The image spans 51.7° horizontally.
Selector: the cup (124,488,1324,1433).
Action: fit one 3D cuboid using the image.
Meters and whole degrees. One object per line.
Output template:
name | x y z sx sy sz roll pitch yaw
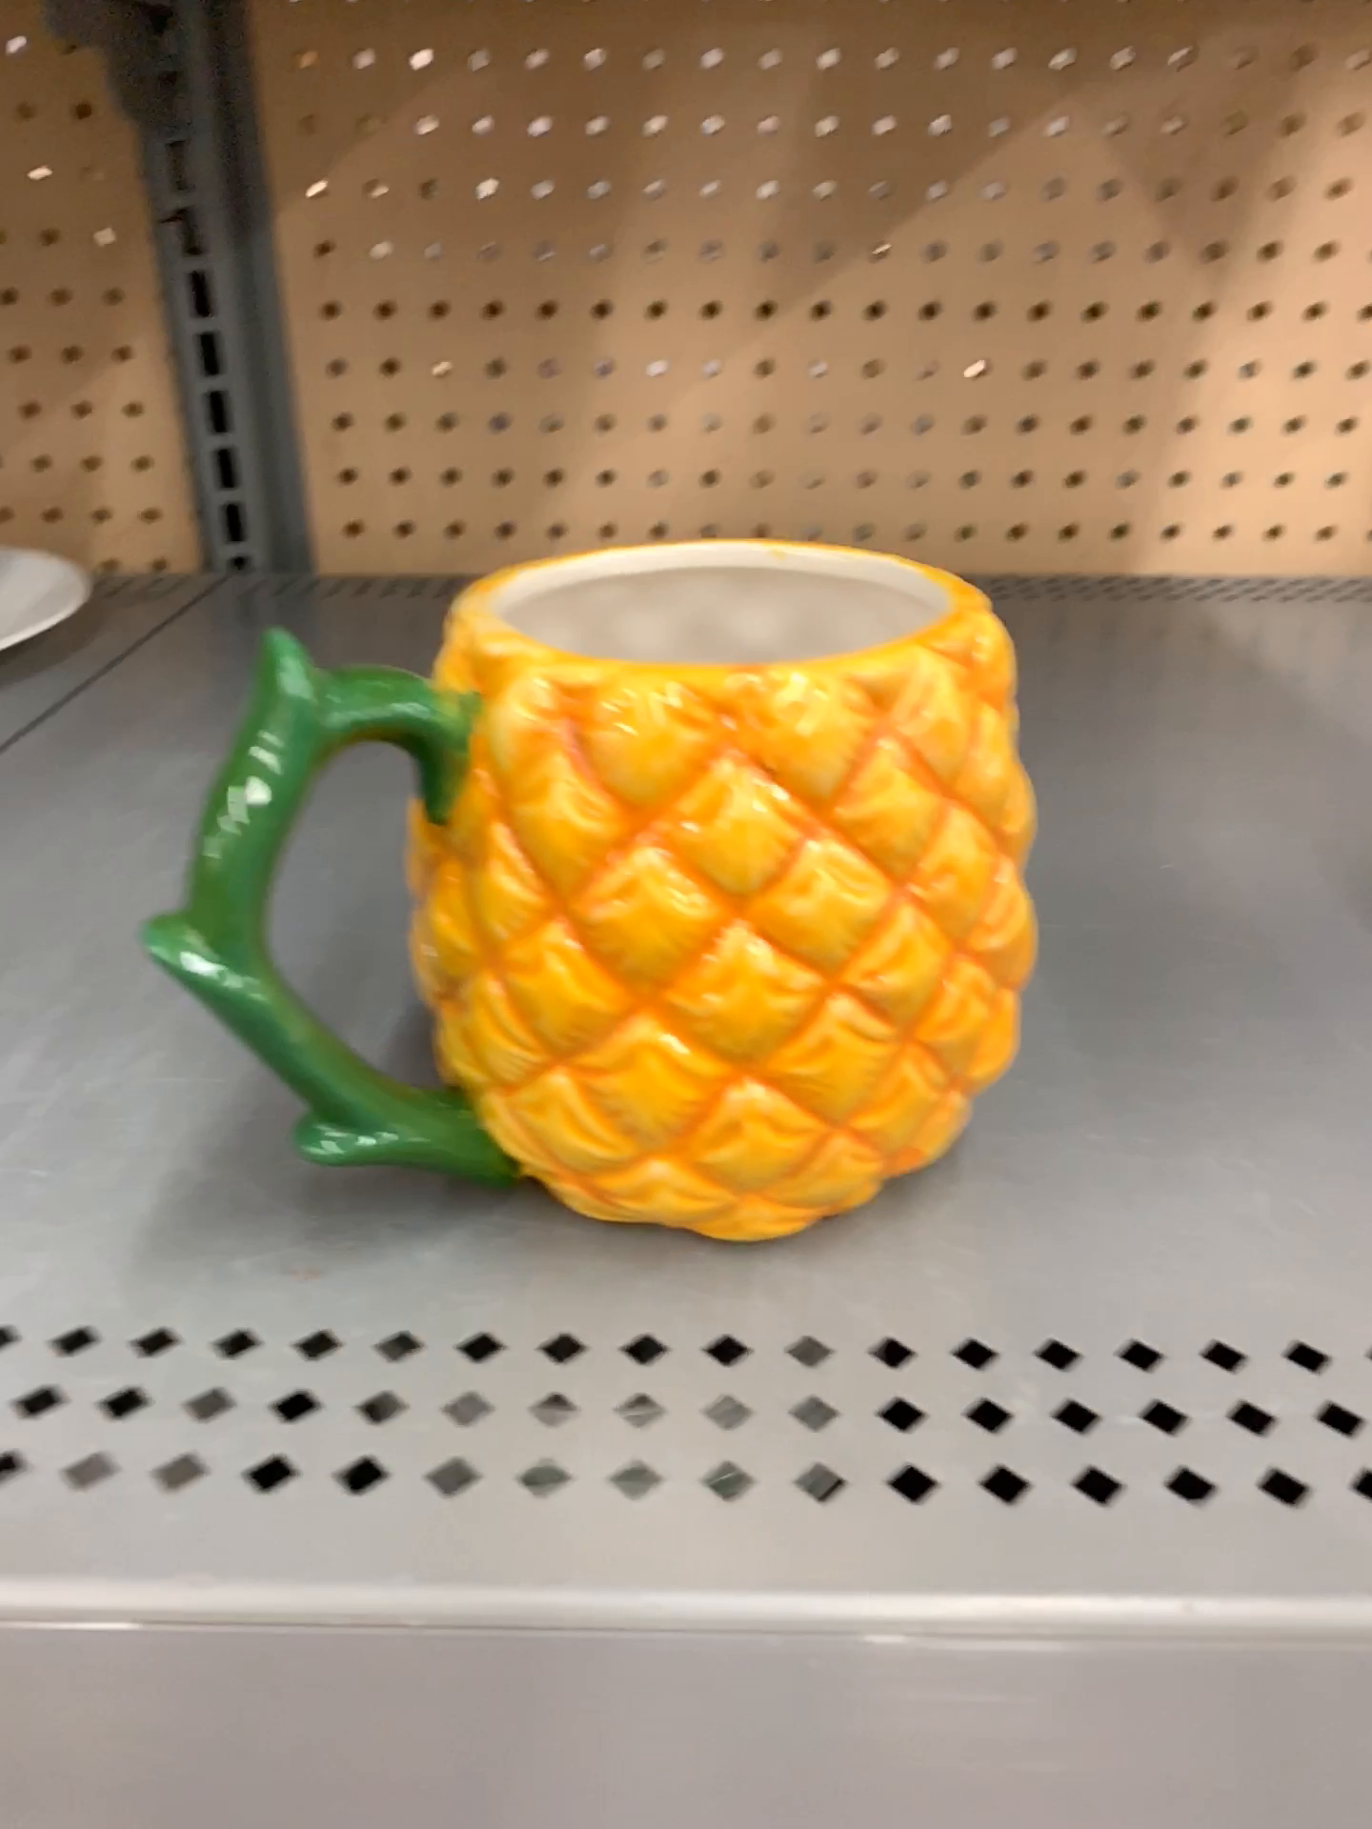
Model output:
cup | 0.000 -0.008 0.242 0.160 0.099 0.101 -11 28 -20
